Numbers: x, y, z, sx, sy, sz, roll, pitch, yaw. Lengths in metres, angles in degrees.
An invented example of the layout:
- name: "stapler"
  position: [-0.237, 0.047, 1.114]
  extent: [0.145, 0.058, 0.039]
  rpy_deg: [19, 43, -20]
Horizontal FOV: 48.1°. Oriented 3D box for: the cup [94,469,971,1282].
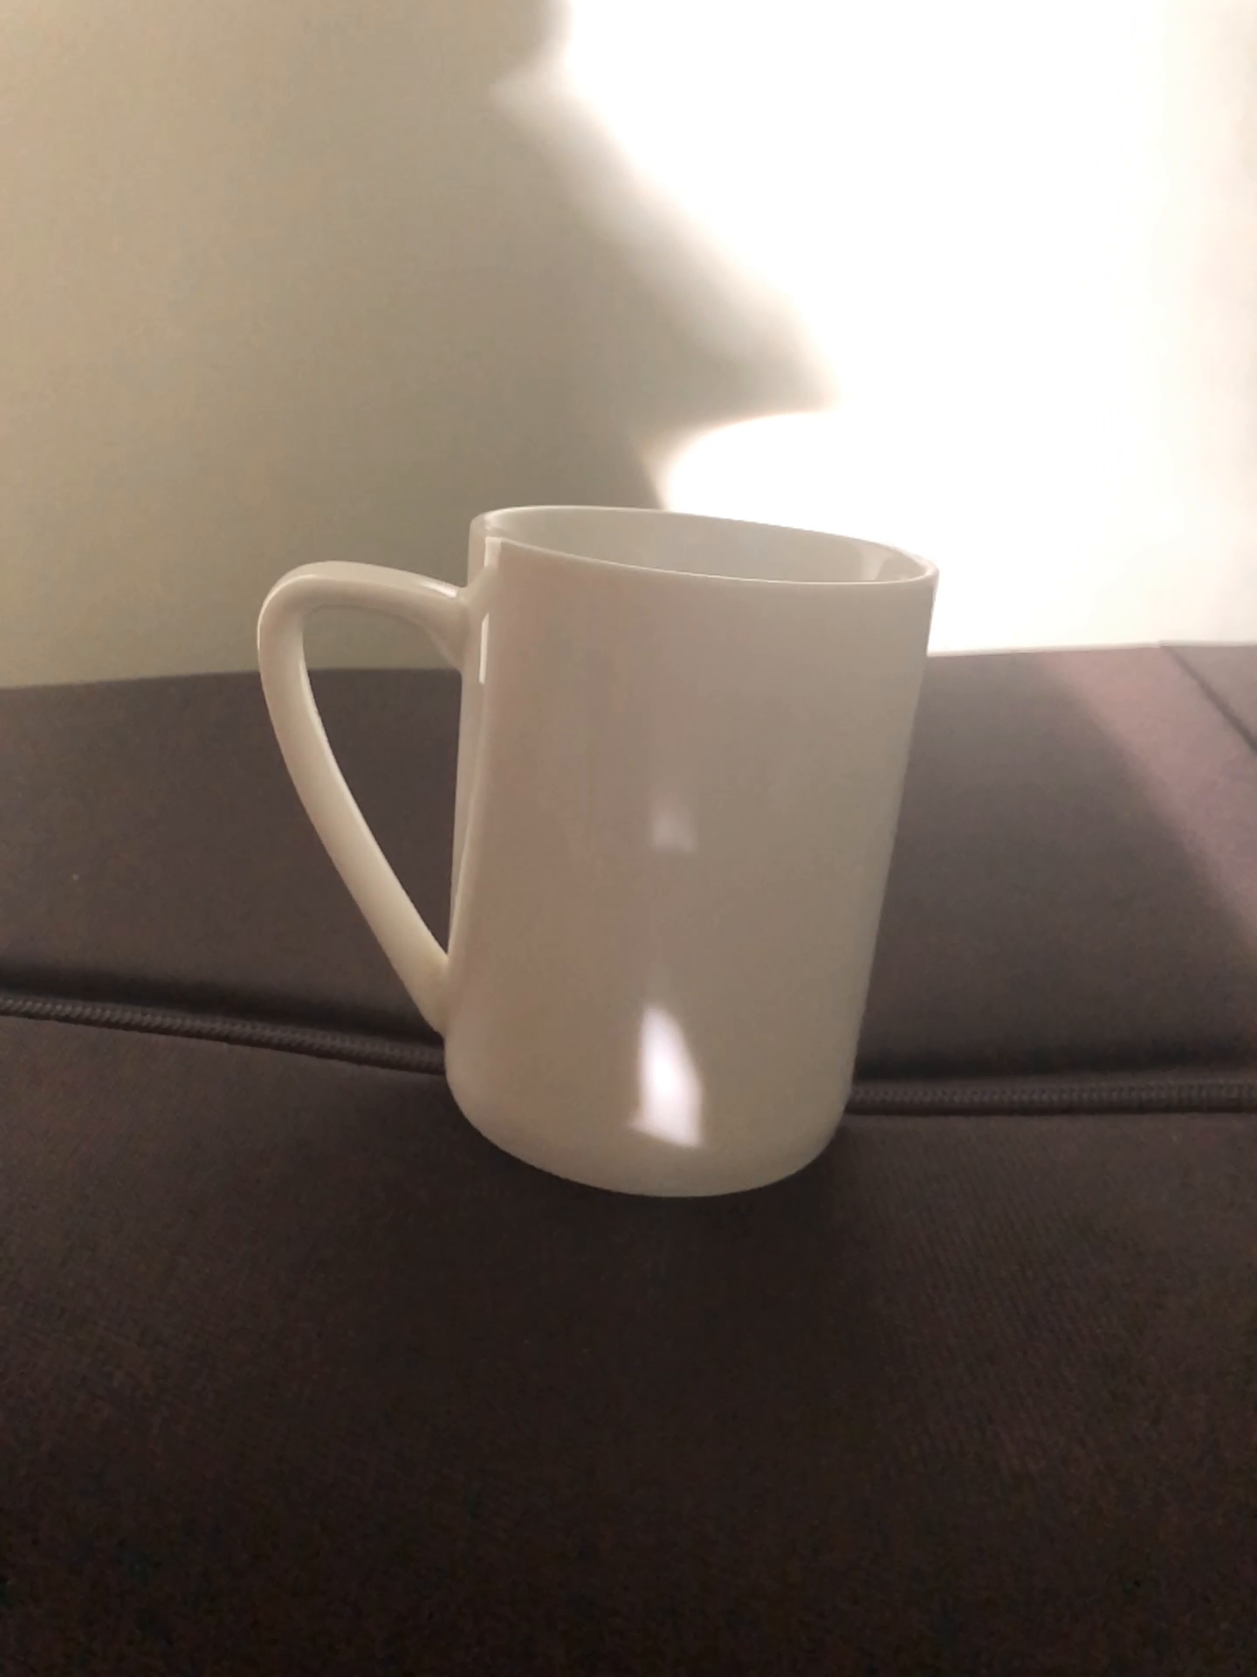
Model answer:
- name: "cup"
  position: [-0.011, -0.007, 0.232]
  extent: [0.108, 0.090, 0.097]
  rpy_deg: [12, 18, 16]
